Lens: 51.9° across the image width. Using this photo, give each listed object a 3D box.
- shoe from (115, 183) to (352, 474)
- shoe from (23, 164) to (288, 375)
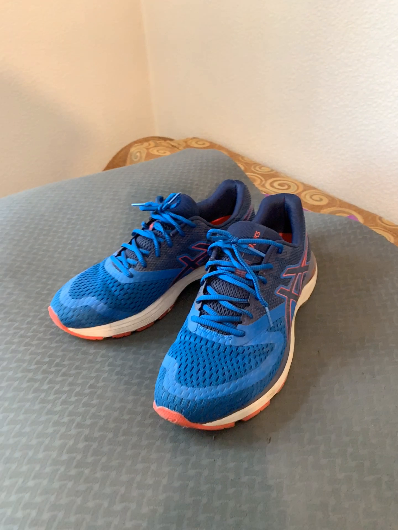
[{"bbox_3d":[0.059,0.037,0.446,0.120,0.109,0.301,18,44,24],"label":"shoe"},{"bbox_3d":[-0.040,-0.013,0.522,0.300,0.109,0.120,-28,45,-27],"label":"shoe"}]
